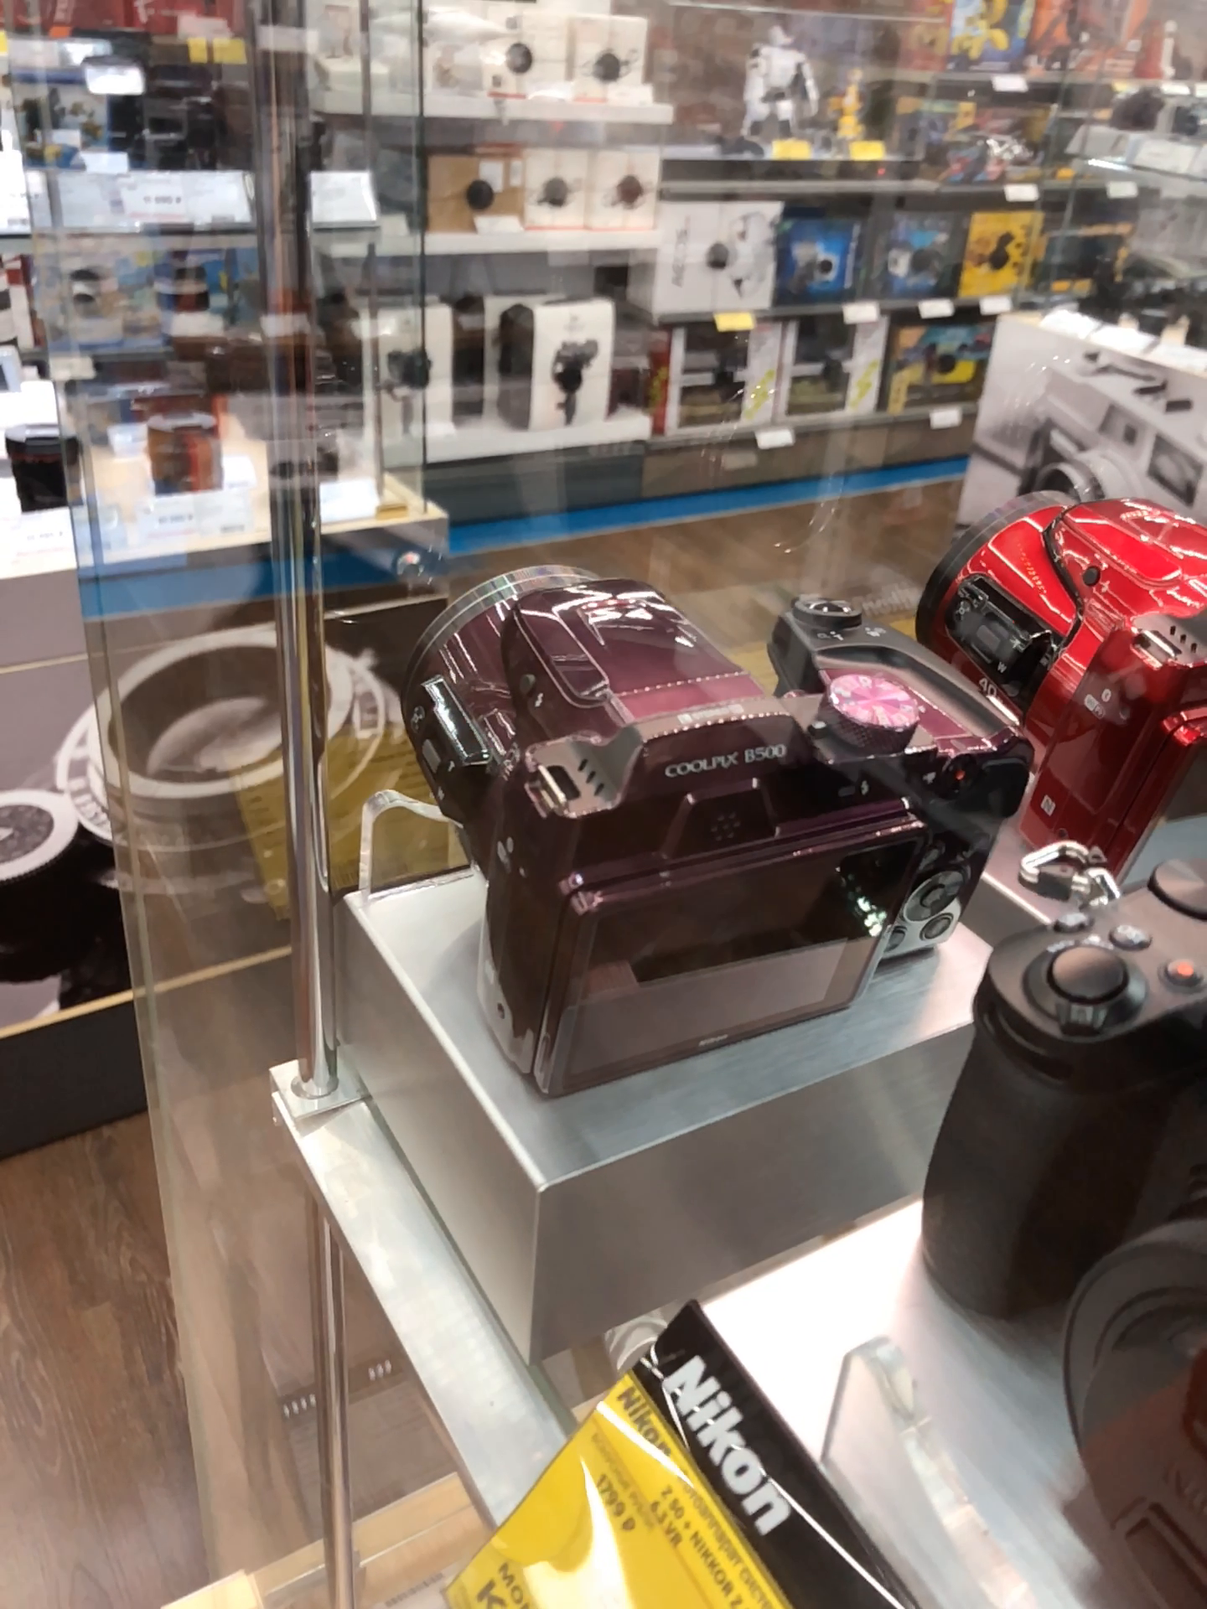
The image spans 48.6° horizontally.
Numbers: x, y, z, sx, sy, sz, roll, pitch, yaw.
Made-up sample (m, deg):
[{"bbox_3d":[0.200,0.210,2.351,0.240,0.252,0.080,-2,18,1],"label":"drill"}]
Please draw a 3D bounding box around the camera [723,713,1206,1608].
[{"bbox_3d":[0.098,0.062,0.177,0.100,0.084,0.134,-12,35,-25],"label":"camera"}]

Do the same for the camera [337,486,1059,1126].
[{"bbox_3d":[0.013,-0.009,0.288,0.109,0.080,0.100,-12,35,-25],"label":"camera"}]
